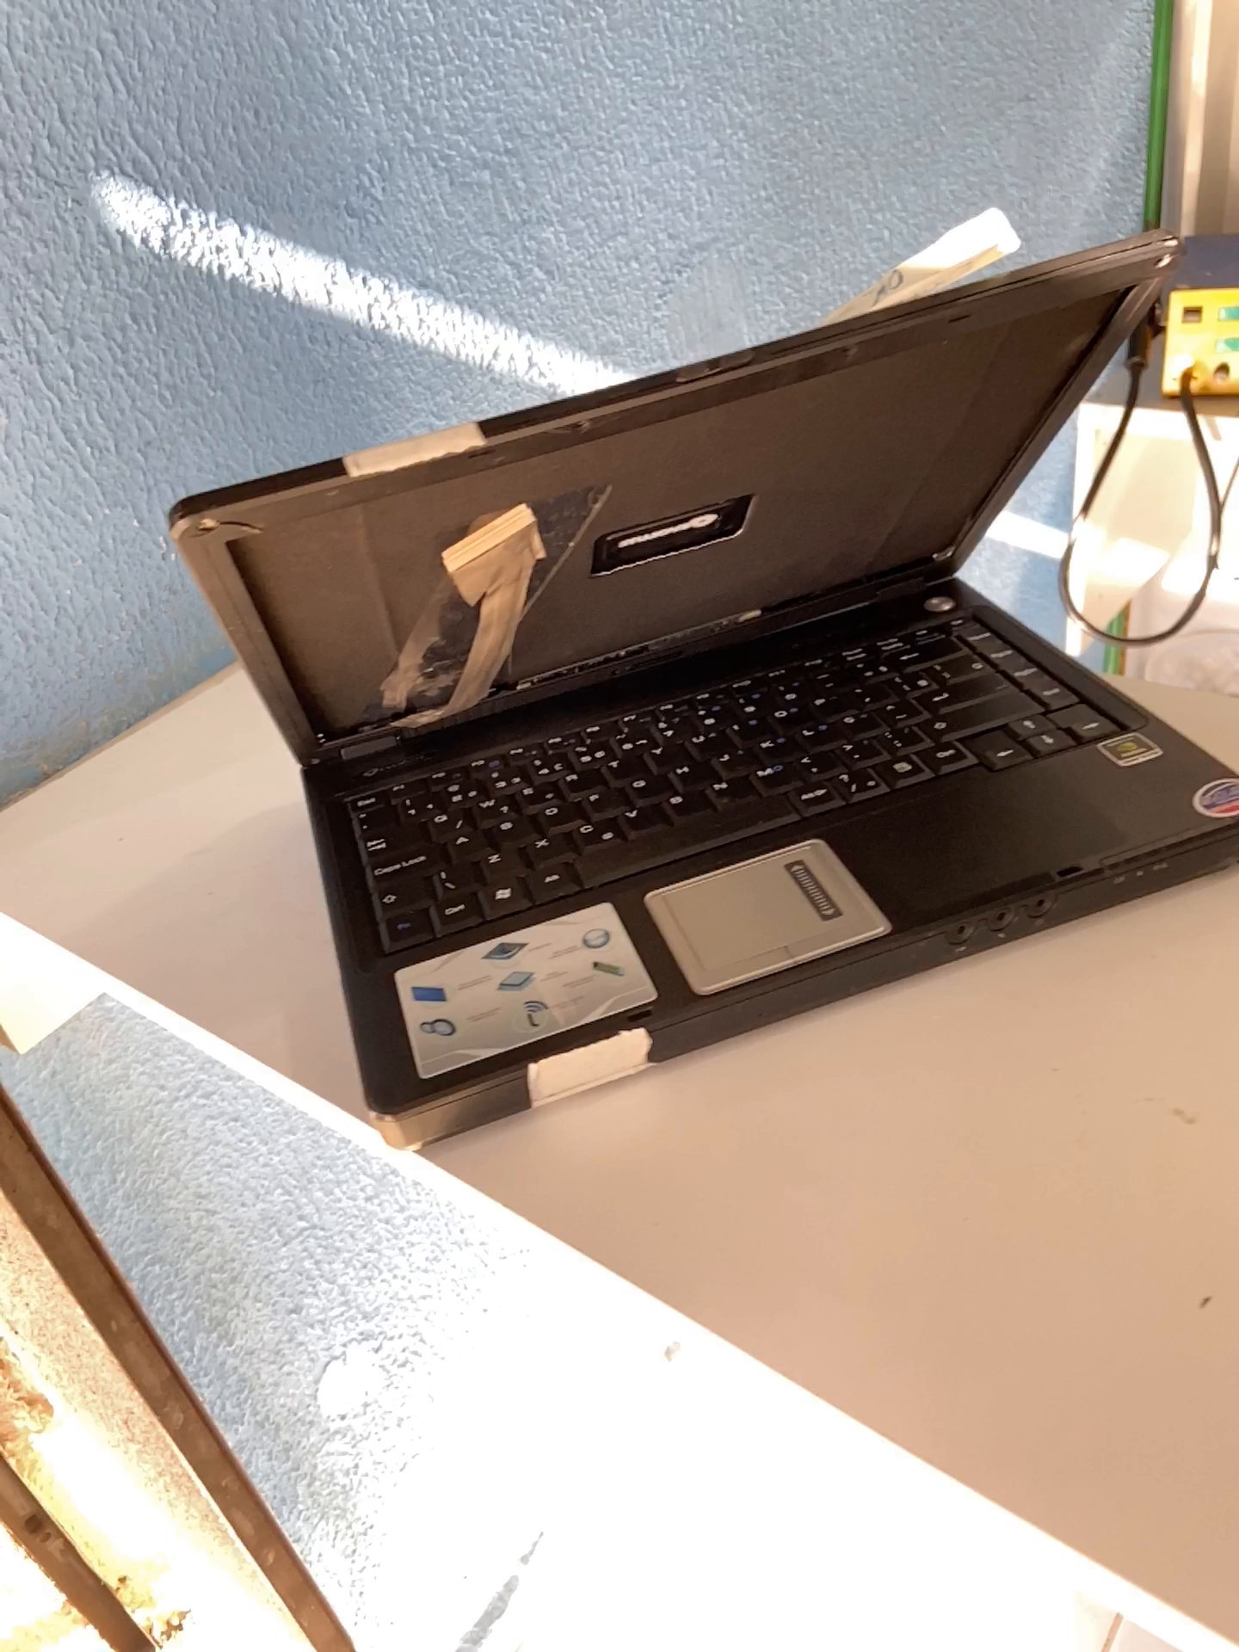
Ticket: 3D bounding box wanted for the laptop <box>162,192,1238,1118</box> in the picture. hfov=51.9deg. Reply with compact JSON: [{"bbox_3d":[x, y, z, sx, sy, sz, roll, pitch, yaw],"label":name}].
[{"bbox_3d":[0.029,-0.087,0.463,0.328,0.175,0.225,-18,35,-9],"label":"laptop"}]
